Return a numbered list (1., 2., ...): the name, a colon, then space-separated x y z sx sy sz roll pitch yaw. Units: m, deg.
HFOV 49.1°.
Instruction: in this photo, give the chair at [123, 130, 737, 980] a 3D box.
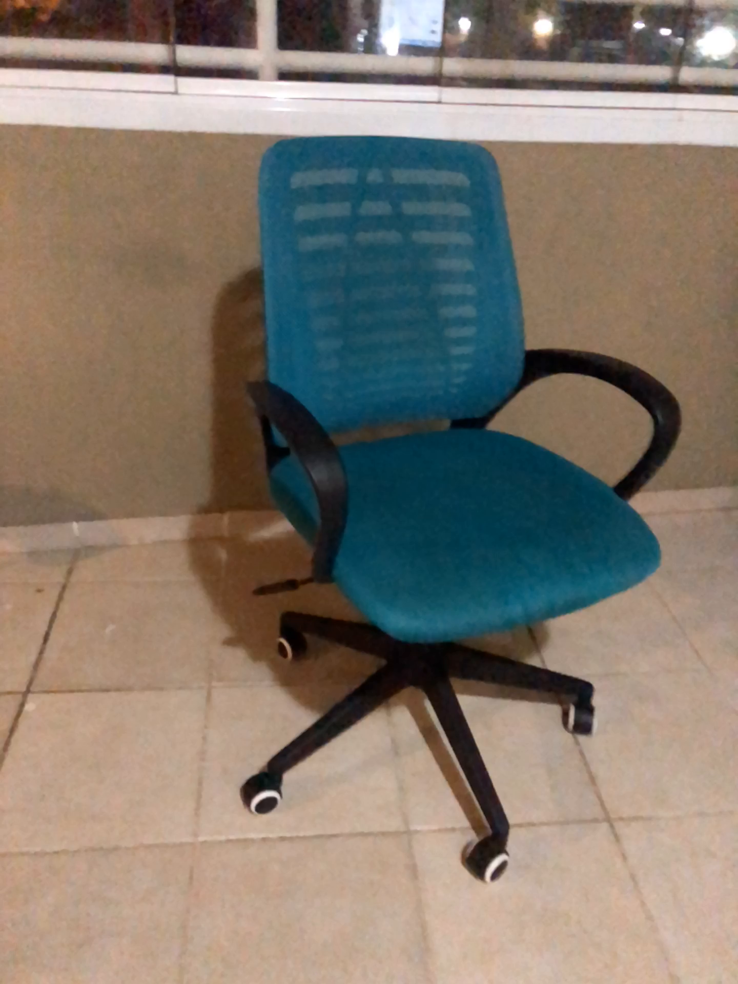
1. chair: 0.101 -0.003 1.249 0.711 0.923 0.744 -11 33 -22
